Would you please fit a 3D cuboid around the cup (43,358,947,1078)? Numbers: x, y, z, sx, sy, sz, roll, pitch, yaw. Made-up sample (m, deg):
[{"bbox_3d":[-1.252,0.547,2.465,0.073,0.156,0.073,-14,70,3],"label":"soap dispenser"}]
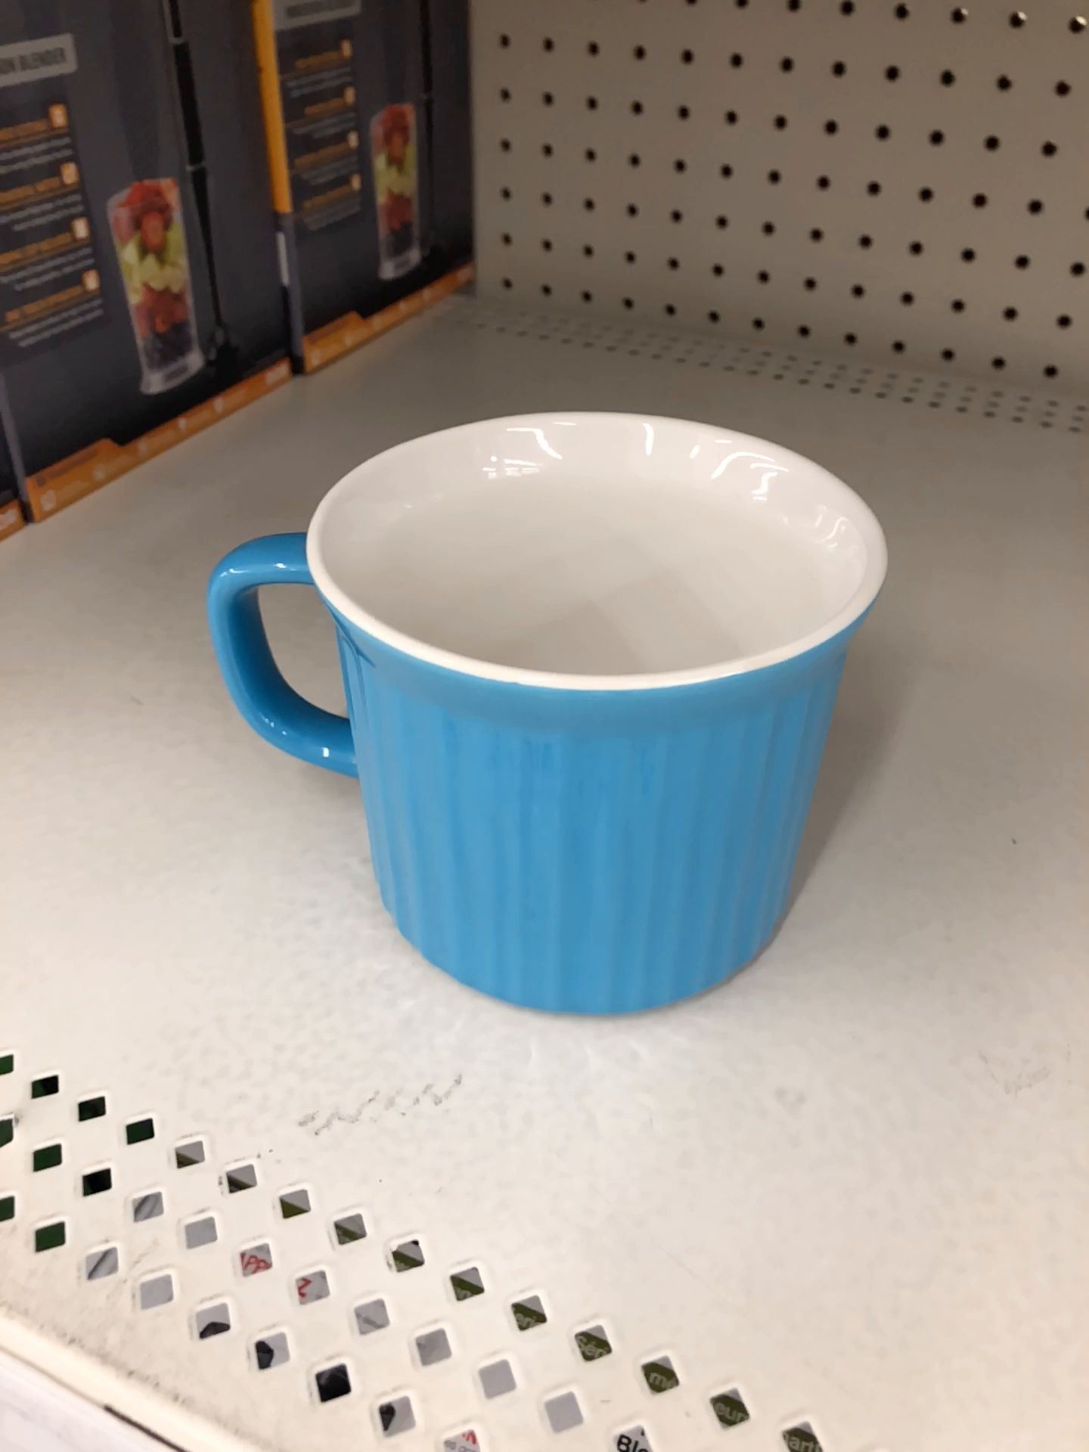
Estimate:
[{"bbox_3d":[-0.001,-0.012,0.286,0.161,0.093,0.126,8,37,10],"label":"cup"}]
